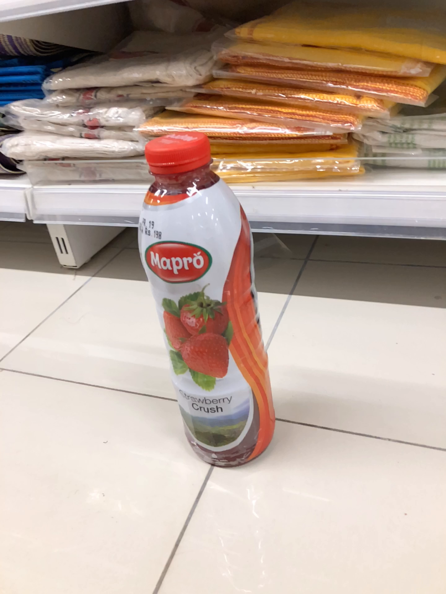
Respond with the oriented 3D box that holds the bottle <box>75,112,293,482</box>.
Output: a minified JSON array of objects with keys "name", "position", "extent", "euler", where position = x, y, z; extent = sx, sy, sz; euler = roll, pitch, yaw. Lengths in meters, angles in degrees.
[{"name":"bottle","position":[-0.010,0.009,0.352],"extent":[0.090,0.248,0.081],"euler":[4,34,21]}]
